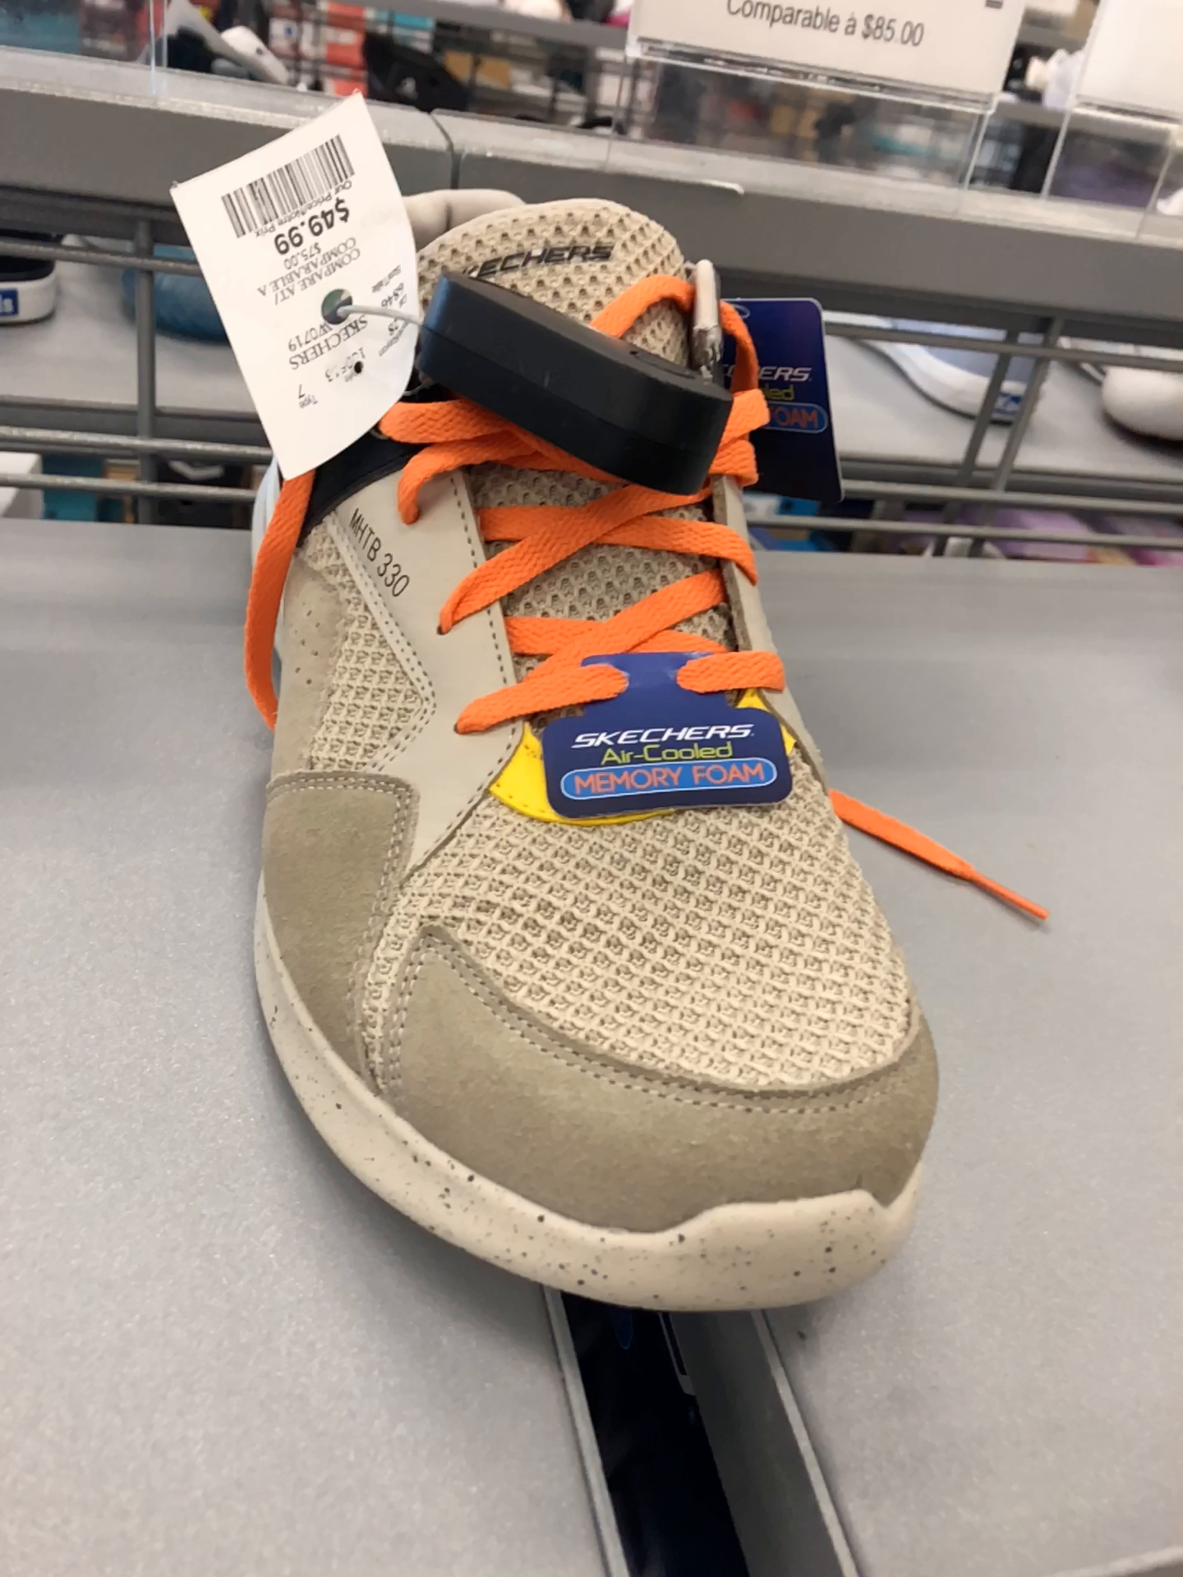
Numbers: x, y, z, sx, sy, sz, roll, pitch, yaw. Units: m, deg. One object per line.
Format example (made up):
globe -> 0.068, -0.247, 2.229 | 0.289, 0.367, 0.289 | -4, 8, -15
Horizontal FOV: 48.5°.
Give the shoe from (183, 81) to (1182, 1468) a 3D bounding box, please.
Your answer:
shoe -> -0.008, -0.041, 0.269 | 0.125, 0.109, 0.282 | -2, 40, -21
